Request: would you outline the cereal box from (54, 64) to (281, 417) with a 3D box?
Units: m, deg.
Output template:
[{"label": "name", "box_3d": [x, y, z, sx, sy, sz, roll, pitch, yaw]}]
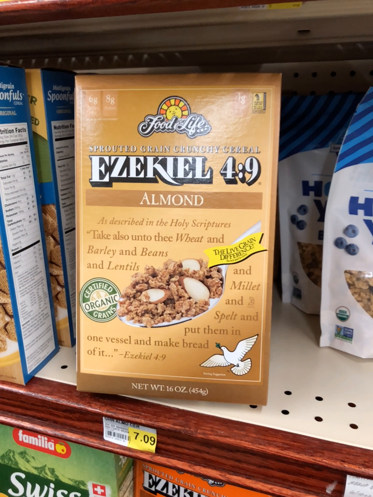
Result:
[{"label": "cereal box", "box_3d": [-0.013, -0.006, 0.297, 0.140, 0.220, 0.060, 2, 6, 6]}]
